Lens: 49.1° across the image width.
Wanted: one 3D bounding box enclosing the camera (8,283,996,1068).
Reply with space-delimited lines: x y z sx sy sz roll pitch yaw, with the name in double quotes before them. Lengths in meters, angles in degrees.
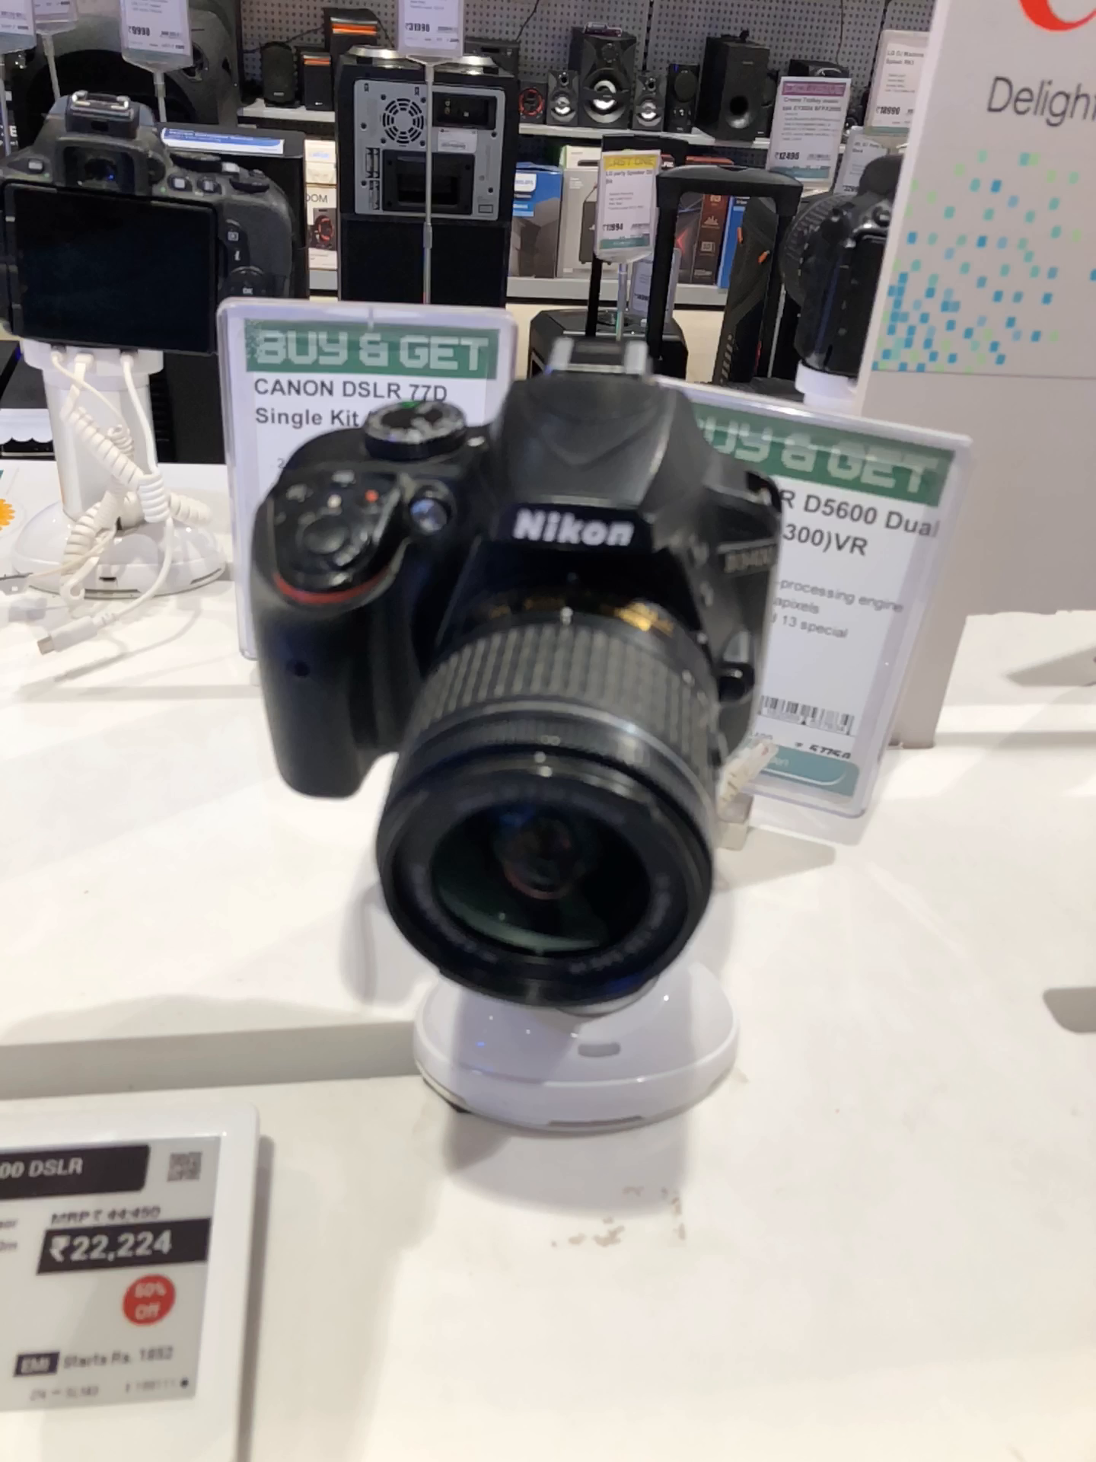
"camera" -0.006 -0.019 0.232 0.130 0.089 0.121 6 34 0
